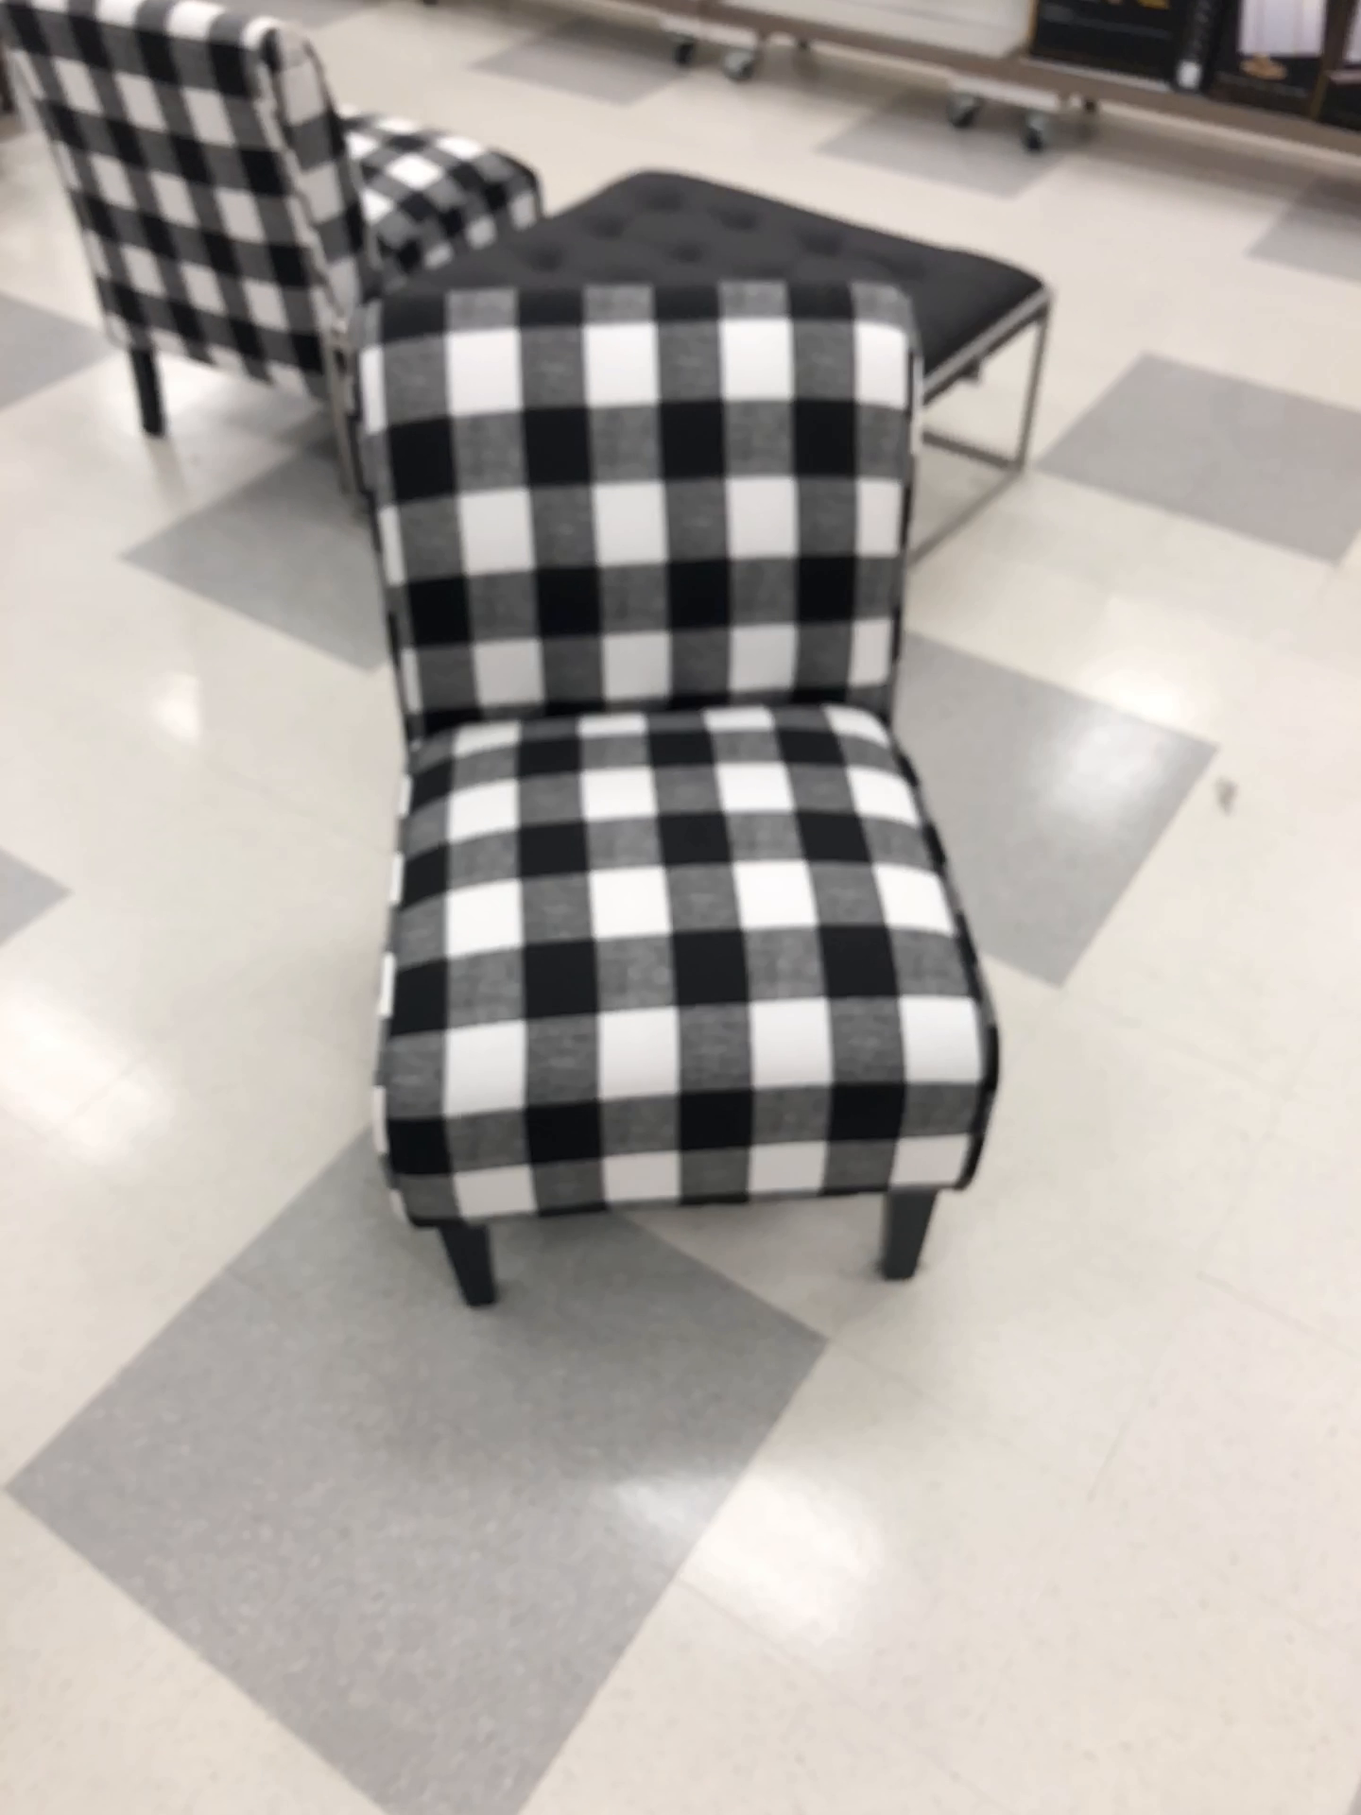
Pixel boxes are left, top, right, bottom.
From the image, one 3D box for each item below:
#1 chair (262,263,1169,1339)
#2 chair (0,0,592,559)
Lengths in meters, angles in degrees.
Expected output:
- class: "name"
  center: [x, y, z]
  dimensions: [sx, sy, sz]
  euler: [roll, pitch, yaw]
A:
- class: "chair"
  center: [0.000, -0.100, 1.574]
  dimensions: [0.624, 0.833, 0.702]
  euler: [-3, 45, -3]
- class: "chair"
  center: [-0.644, -1.252, 2.715]
  dimensions: [0.625, 0.833, 0.732]
  euler: [26, 51, 23]
